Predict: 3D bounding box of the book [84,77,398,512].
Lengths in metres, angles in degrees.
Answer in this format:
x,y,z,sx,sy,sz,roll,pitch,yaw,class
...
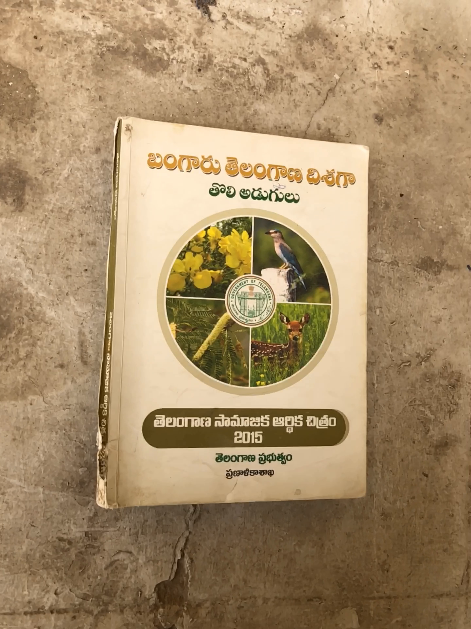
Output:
x,y,z,sx,sy,sz,roll,pitch,yaw,class
0.008,-0.012,0.396,0.220,0.060,0.290,2,85,-12,book
